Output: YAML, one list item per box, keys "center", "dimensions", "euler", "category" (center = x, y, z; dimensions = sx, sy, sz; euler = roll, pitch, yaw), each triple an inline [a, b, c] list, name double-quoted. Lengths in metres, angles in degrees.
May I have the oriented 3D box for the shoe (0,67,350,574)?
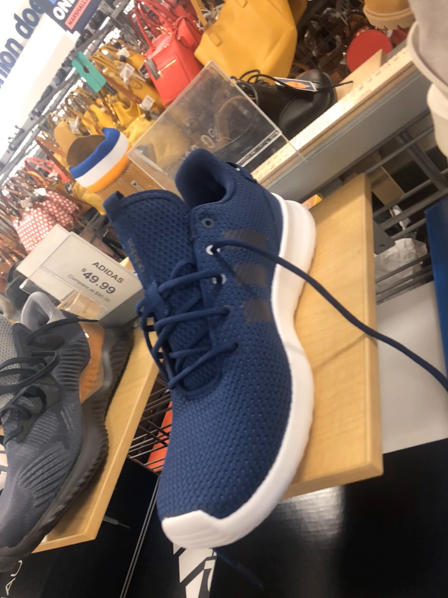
- center: [-0.012, -0.007, 0.339]
  dimensions: [0.112, 0.145, 0.305]
  euler: [-32, 28, 39]
  category: "shoe"
